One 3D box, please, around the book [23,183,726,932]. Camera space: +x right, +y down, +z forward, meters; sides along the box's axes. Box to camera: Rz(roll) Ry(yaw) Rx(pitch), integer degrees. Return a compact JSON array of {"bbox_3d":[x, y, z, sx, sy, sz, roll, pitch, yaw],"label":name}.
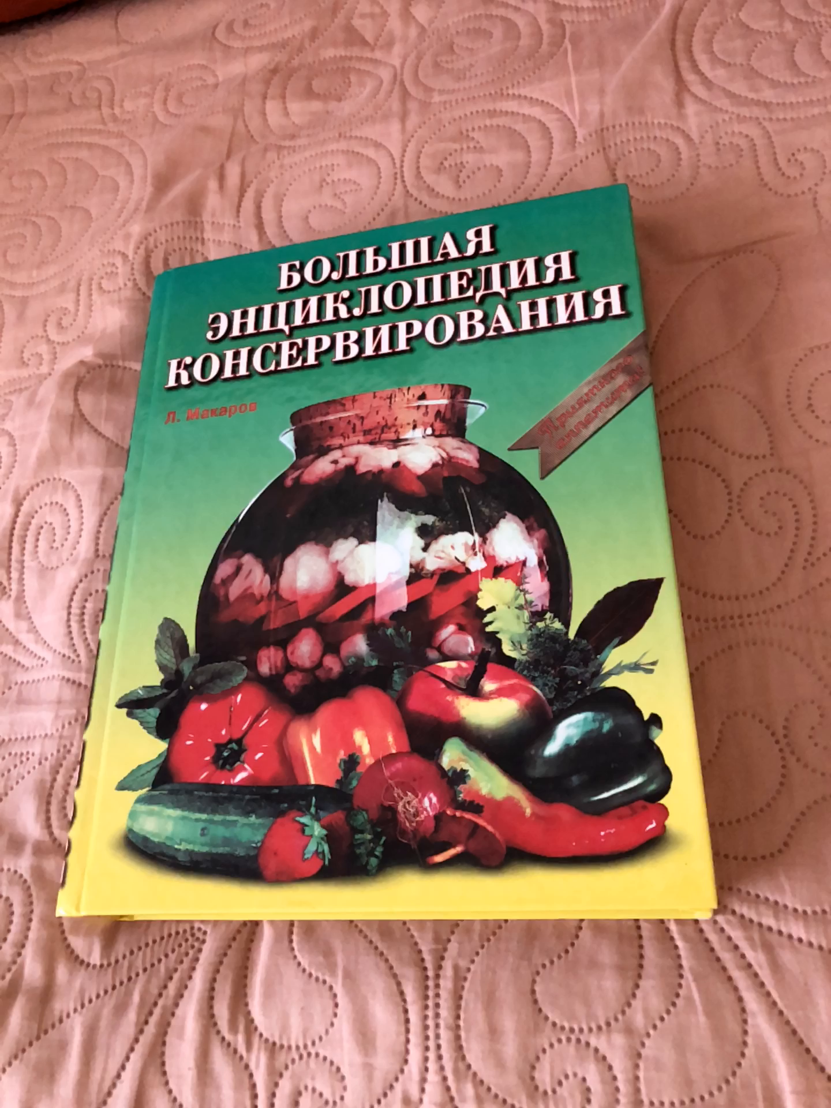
[{"bbox_3d":[-0.015,-0.005,0.352,0.216,0.050,0.273,-6,63,12],"label":"book"}]
